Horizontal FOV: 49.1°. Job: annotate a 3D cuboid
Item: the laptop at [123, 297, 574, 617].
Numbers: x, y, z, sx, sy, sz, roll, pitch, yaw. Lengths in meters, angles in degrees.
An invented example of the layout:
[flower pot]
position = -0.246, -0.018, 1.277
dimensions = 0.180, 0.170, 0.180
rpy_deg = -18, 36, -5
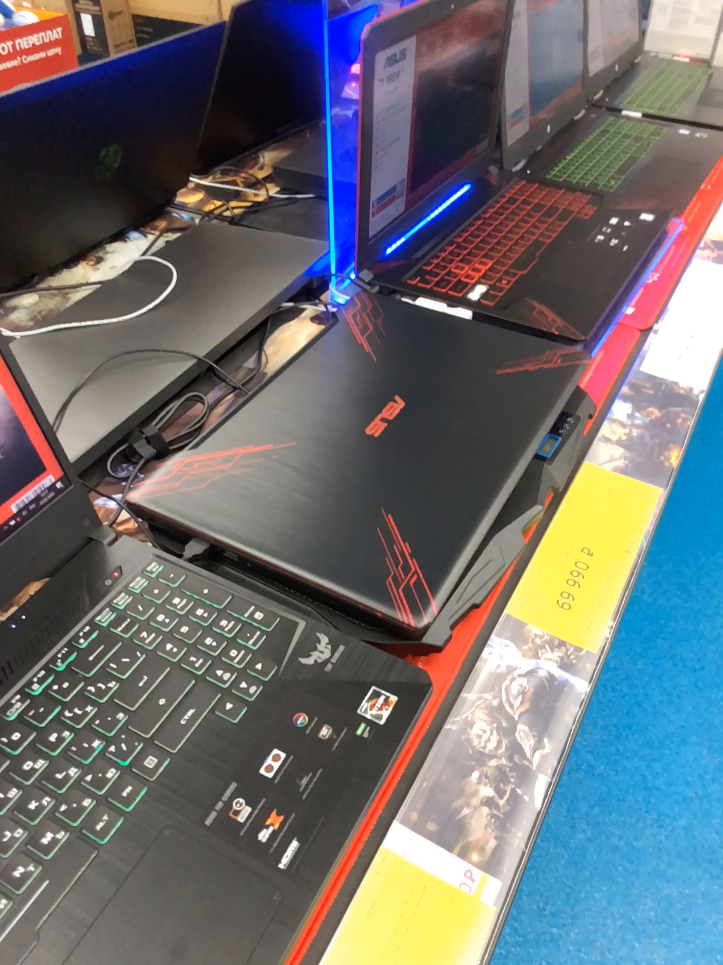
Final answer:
[laptop]
position = 0.008, -0.054, 0.687
dimensions = 0.239, 0.003, 0.359
rpy_deg = 21, 46, 23
